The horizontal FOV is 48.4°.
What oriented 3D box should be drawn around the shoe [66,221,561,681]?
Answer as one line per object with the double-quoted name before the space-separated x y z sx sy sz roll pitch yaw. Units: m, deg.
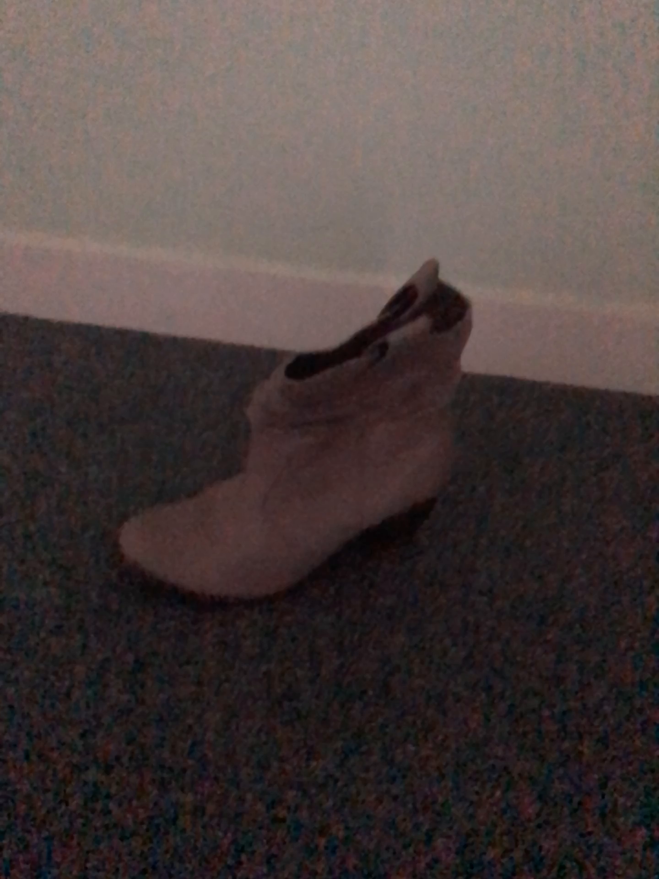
"shoe" -0.019 0.001 0.462 0.241 0.219 0.130 -10 38 -17
